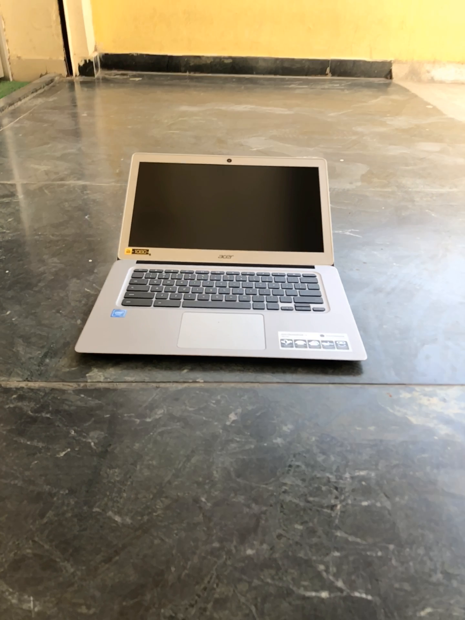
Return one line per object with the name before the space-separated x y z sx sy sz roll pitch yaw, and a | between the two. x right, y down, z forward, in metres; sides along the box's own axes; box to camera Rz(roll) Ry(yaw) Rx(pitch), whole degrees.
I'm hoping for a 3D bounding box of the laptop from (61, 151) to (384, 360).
laptop | -0.010 -0.110 0.741 0.338 0.117 0.426 2 32 0
